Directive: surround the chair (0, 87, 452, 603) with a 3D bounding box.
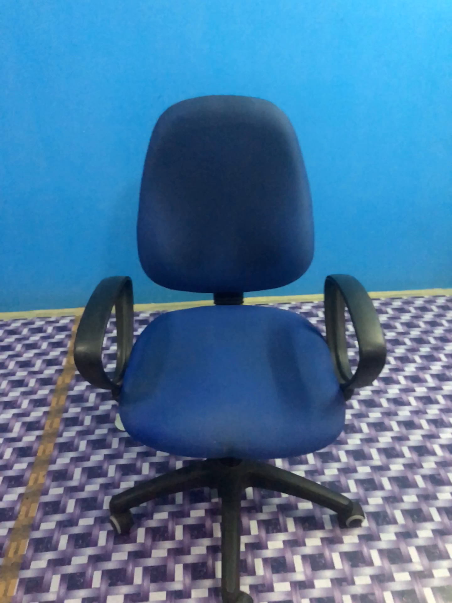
[{"bbox_3d":[0.032,0.108,1.056,0.700,0.915,0.694,1,34,1],"label":"chair"}]
